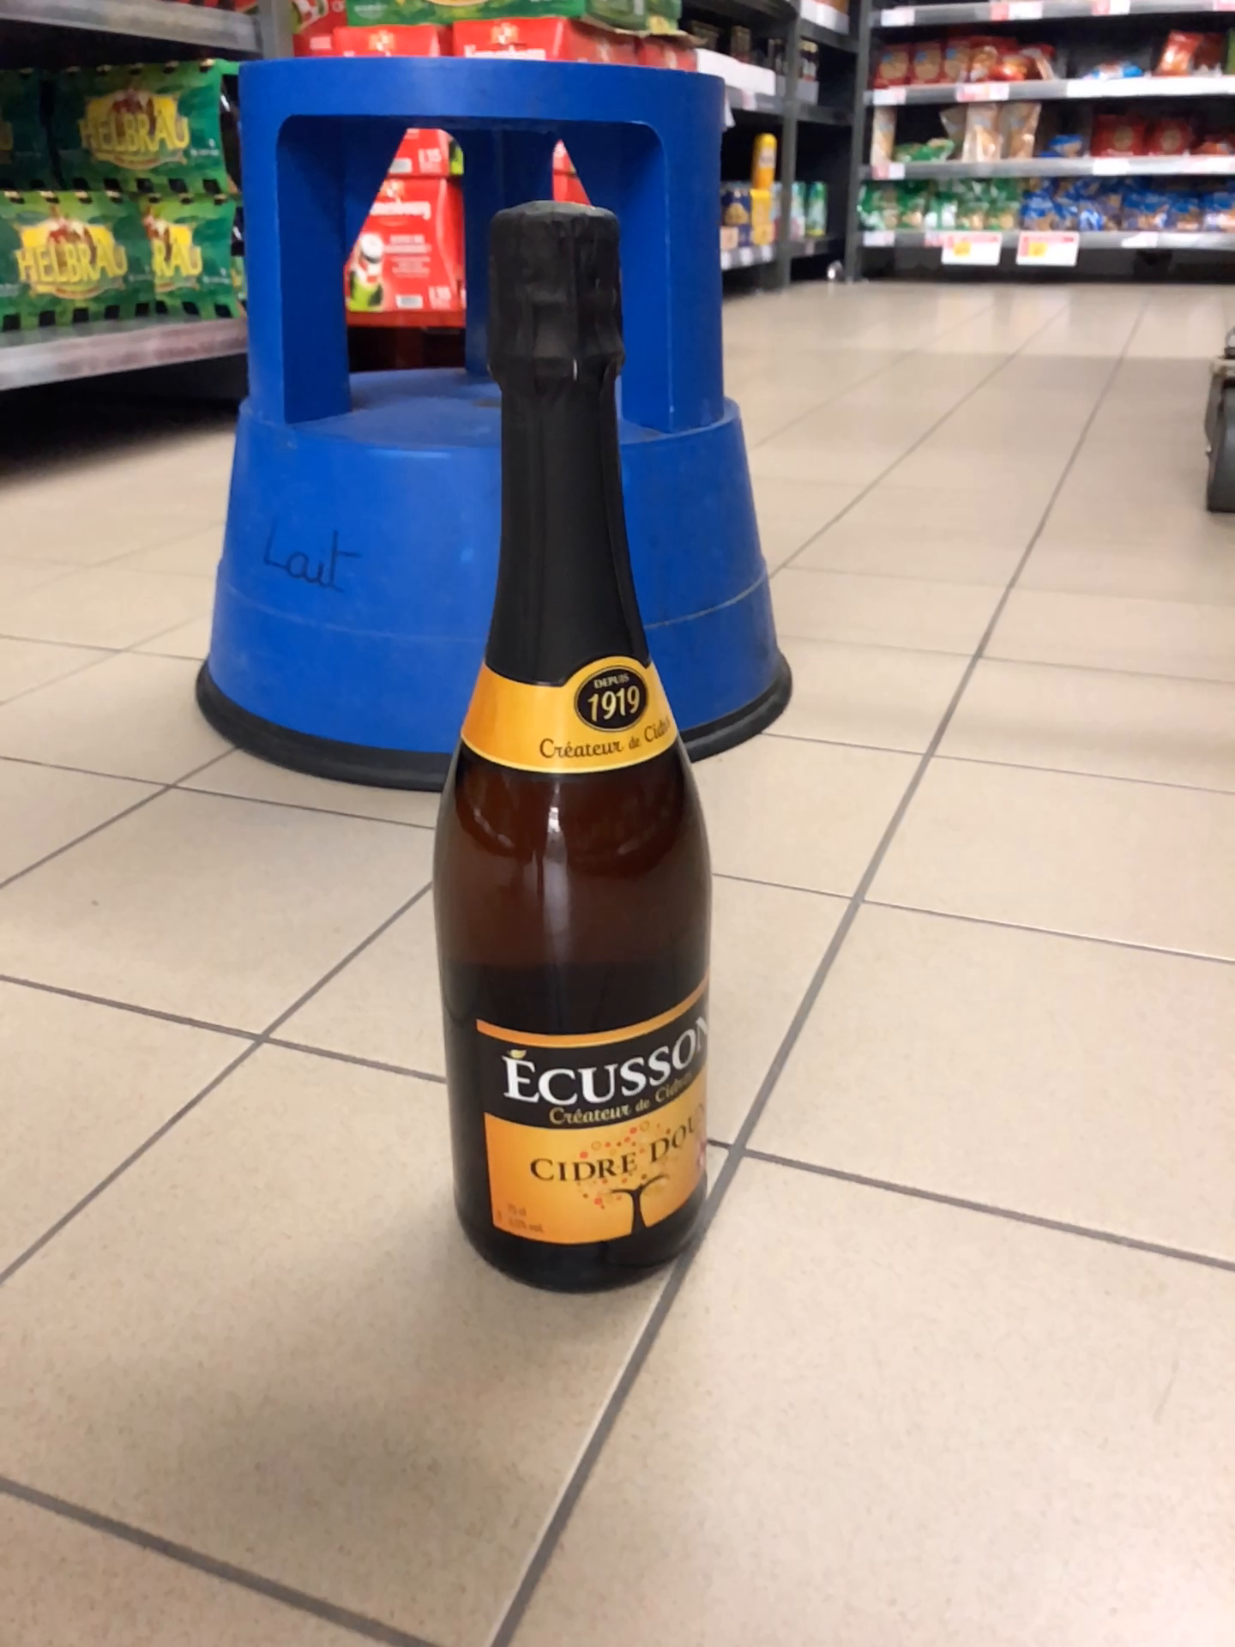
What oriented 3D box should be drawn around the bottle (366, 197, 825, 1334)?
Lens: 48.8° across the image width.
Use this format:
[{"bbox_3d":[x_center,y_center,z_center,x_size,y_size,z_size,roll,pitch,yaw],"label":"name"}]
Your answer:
[{"bbox_3d":[-0.009,-0.012,0.383,0.090,0.298,0.090,0,24,0],"label":"bottle"}]
